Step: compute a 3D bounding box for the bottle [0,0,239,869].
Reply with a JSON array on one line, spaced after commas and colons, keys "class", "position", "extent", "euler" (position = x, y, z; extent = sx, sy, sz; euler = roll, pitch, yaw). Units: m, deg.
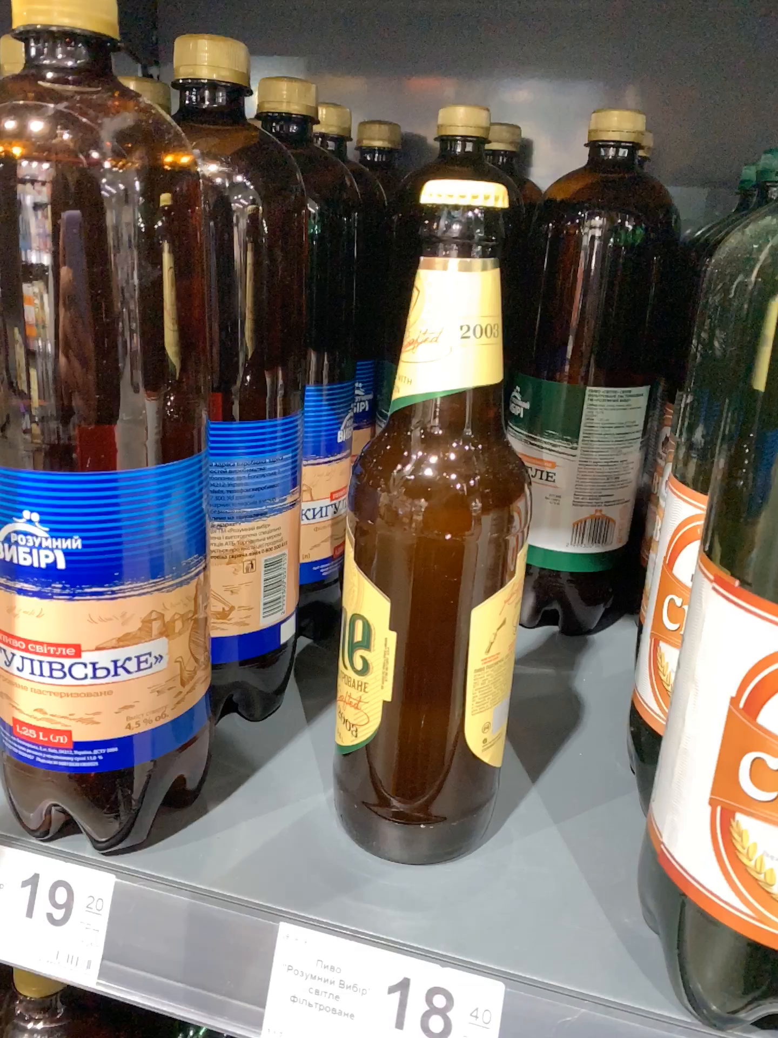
[{"class": "bottle", "position": [-0.106, -0.023, 0.282], "extent": [0.084, 0.284, 0.070], "euler": [5, 19, 6]}]

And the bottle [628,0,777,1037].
[{"class": "bottle", "position": [0.131, 0.018, 0.227], "extent": [0.084, 0.277, 0.070], "euler": [8, 20, 14]}]

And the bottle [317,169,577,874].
[{"class": "bottle", "position": [0.014, 0.007, 0.304], "extent": [0.070, 0.248, 0.069], "euler": [3, 19, -1]}]
